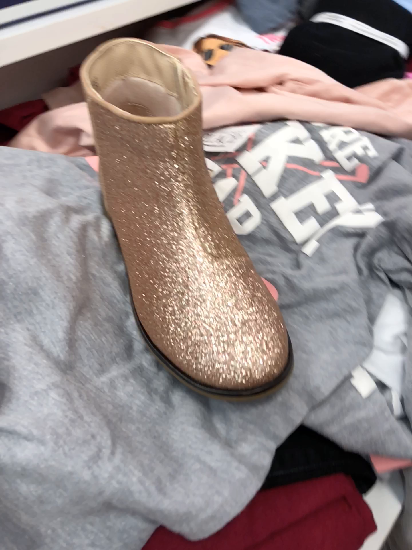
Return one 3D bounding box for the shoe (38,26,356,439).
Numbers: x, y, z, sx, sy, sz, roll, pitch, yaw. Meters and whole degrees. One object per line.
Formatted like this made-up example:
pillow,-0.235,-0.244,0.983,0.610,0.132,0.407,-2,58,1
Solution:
shoe,-0.024,-0.051,0.277,0.083,0.129,0.238,-19,41,-13
